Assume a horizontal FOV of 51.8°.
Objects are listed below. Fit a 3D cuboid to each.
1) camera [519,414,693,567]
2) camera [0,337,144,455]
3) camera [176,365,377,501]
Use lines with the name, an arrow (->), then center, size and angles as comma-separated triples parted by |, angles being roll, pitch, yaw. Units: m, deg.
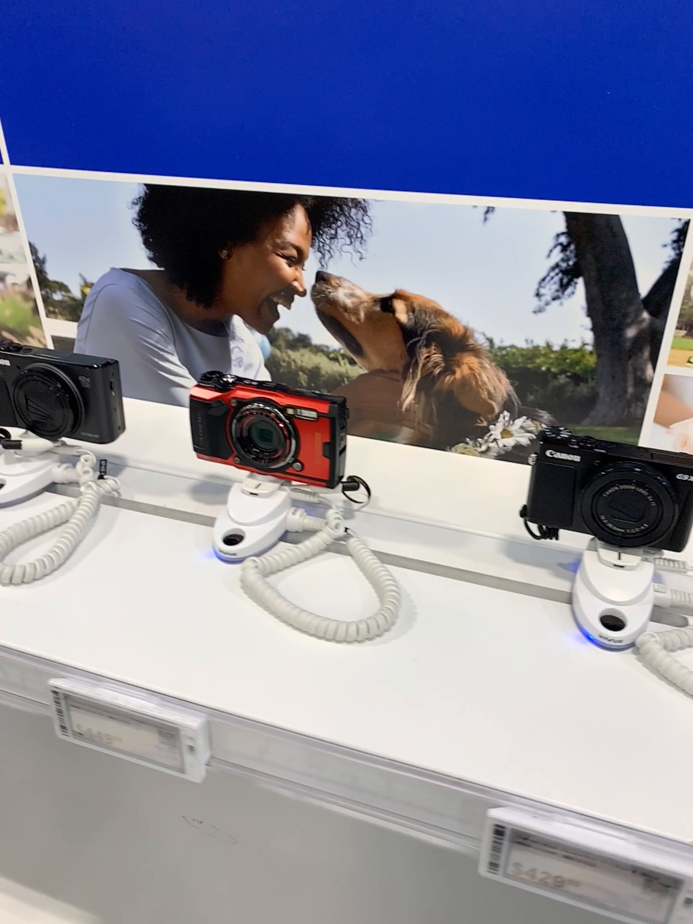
camera -> 0.172, 0.015, 0.452 | 0.110, 0.060, 0.050 | 11, 29, 17
camera -> -0.227, -0.053, 0.555 | 0.120, 0.060, 0.050 | 11, 29, 17
camera -> -0.049, -0.023, 0.507 | 0.130, 0.060, 0.050 | 11, 29, 17
